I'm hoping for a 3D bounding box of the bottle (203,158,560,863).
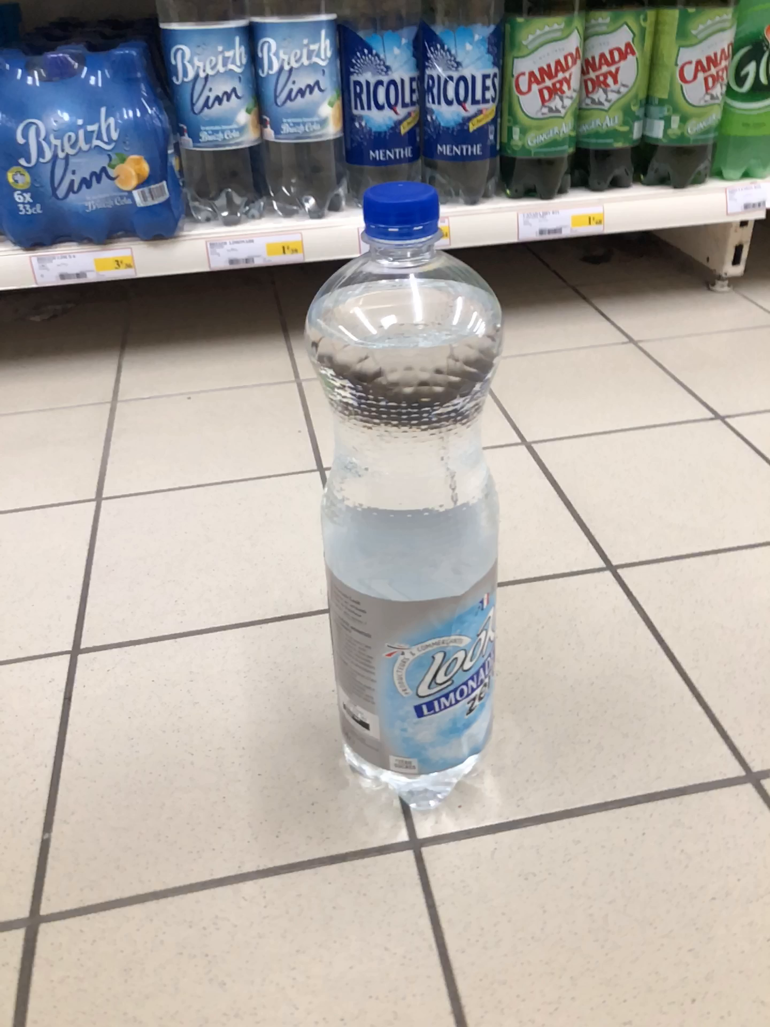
[{"bbox_3d":[0.005,0.011,0.424,0.100,0.328,0.101,-2,33,1],"label":"bottle"}]
